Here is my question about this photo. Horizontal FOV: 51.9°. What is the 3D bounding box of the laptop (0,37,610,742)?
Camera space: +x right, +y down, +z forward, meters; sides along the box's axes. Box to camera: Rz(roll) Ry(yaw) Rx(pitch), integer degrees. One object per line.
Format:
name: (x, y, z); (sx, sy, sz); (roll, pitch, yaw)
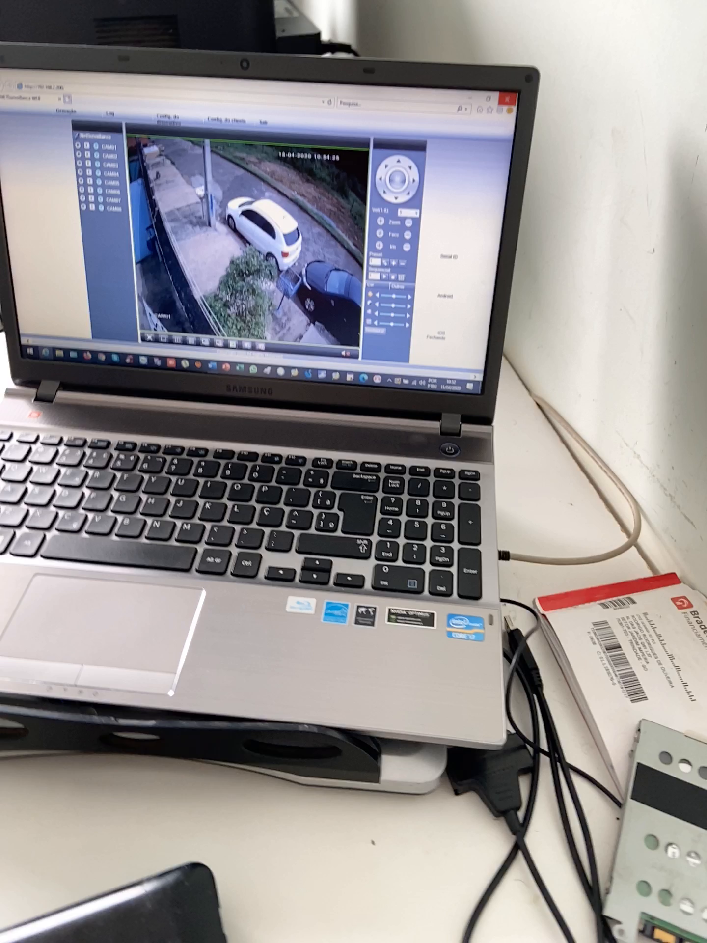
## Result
laptop: (-0.086, -0.077, 0.424); (0.367, 0.213, 0.337); (5, 45, 5)
